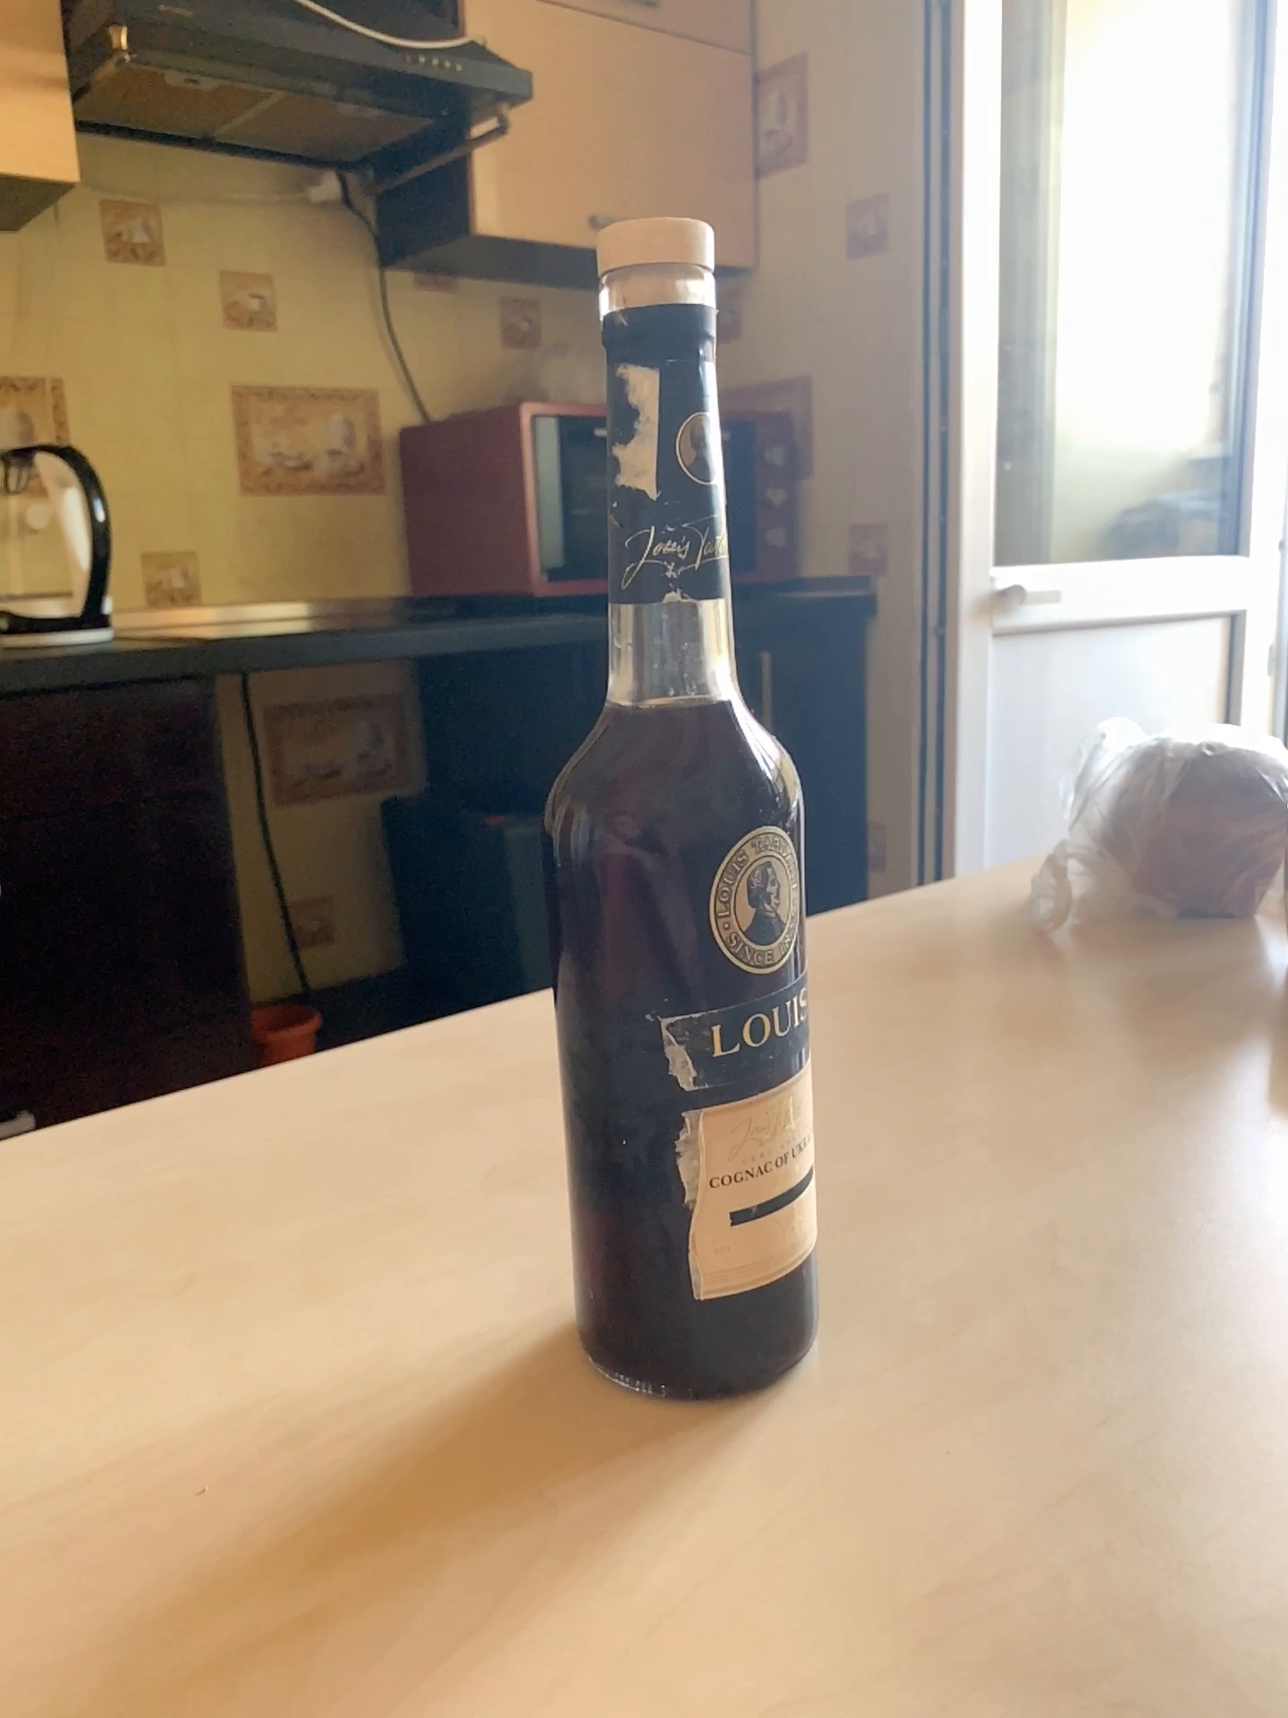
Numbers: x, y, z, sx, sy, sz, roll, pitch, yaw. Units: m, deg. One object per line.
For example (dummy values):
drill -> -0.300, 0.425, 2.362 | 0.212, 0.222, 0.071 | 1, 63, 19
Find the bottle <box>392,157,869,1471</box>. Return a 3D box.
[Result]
bottle -> 0.003, -0.007, 0.343 | 0.080, 0.289, 0.080 | -2, 12, 0
